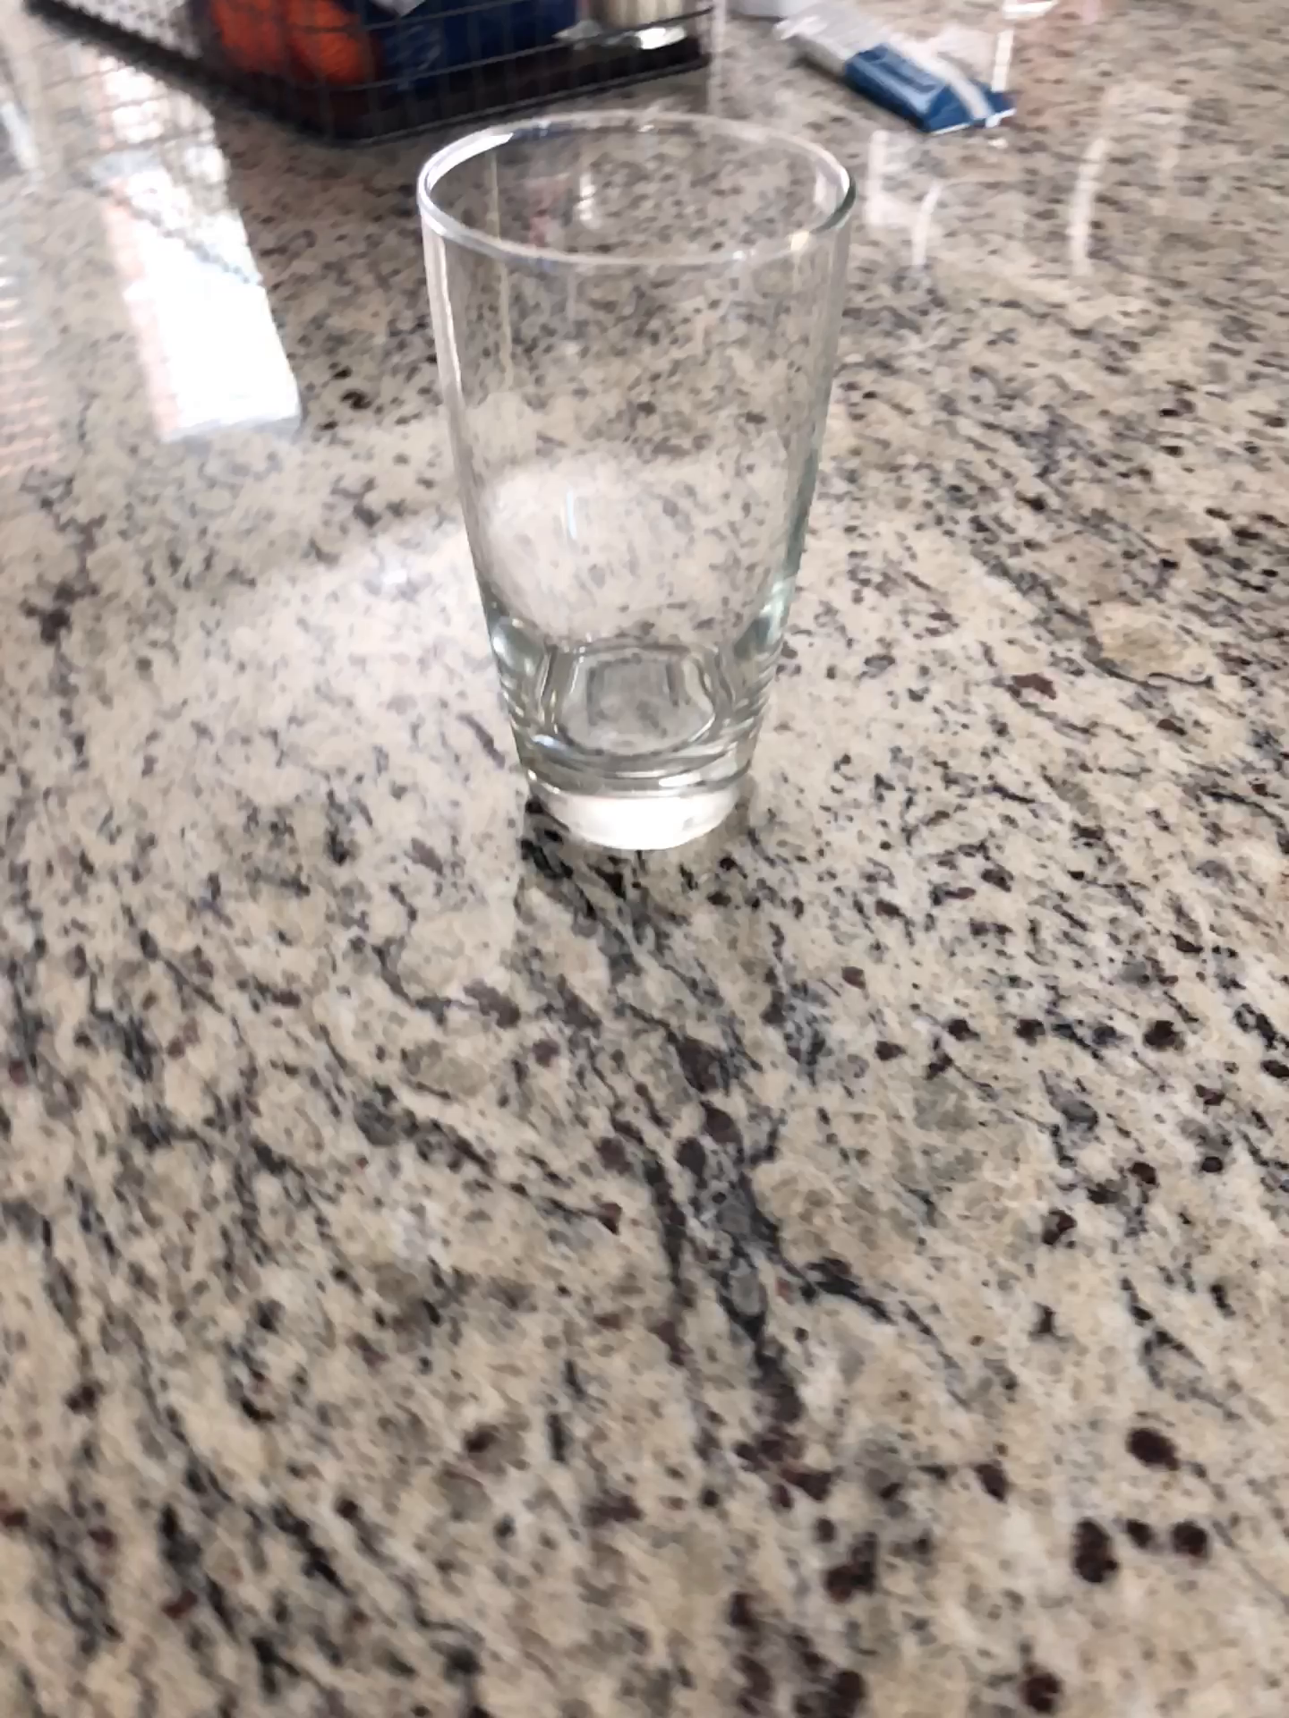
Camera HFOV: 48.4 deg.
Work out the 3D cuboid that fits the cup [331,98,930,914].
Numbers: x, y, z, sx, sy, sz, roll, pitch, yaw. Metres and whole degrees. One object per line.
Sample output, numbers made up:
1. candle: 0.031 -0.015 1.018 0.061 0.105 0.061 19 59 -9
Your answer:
1. cup: 0.001 -0.075 0.312 0.090 0.139 0.081 13 44 13
